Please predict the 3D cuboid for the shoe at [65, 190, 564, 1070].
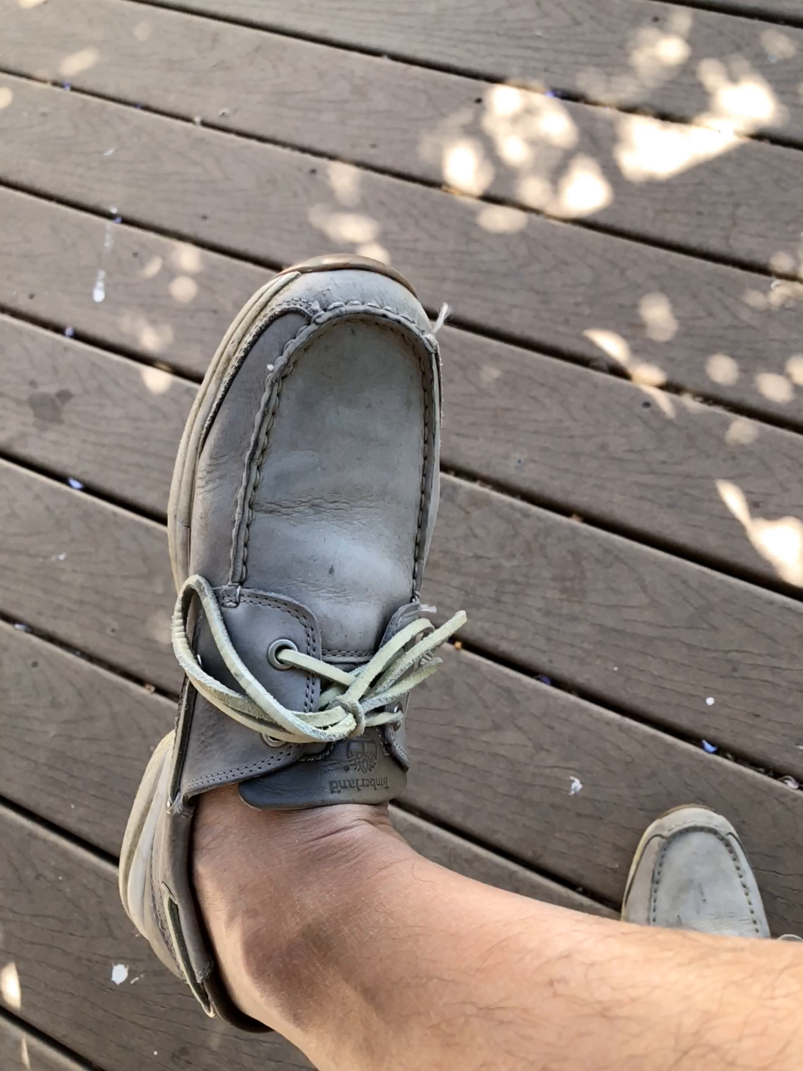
[{"bbox_3d":[-0.039,0.050,0.355,0.083,0.116,0.326,19,101,50],"label":"shoe"}]
